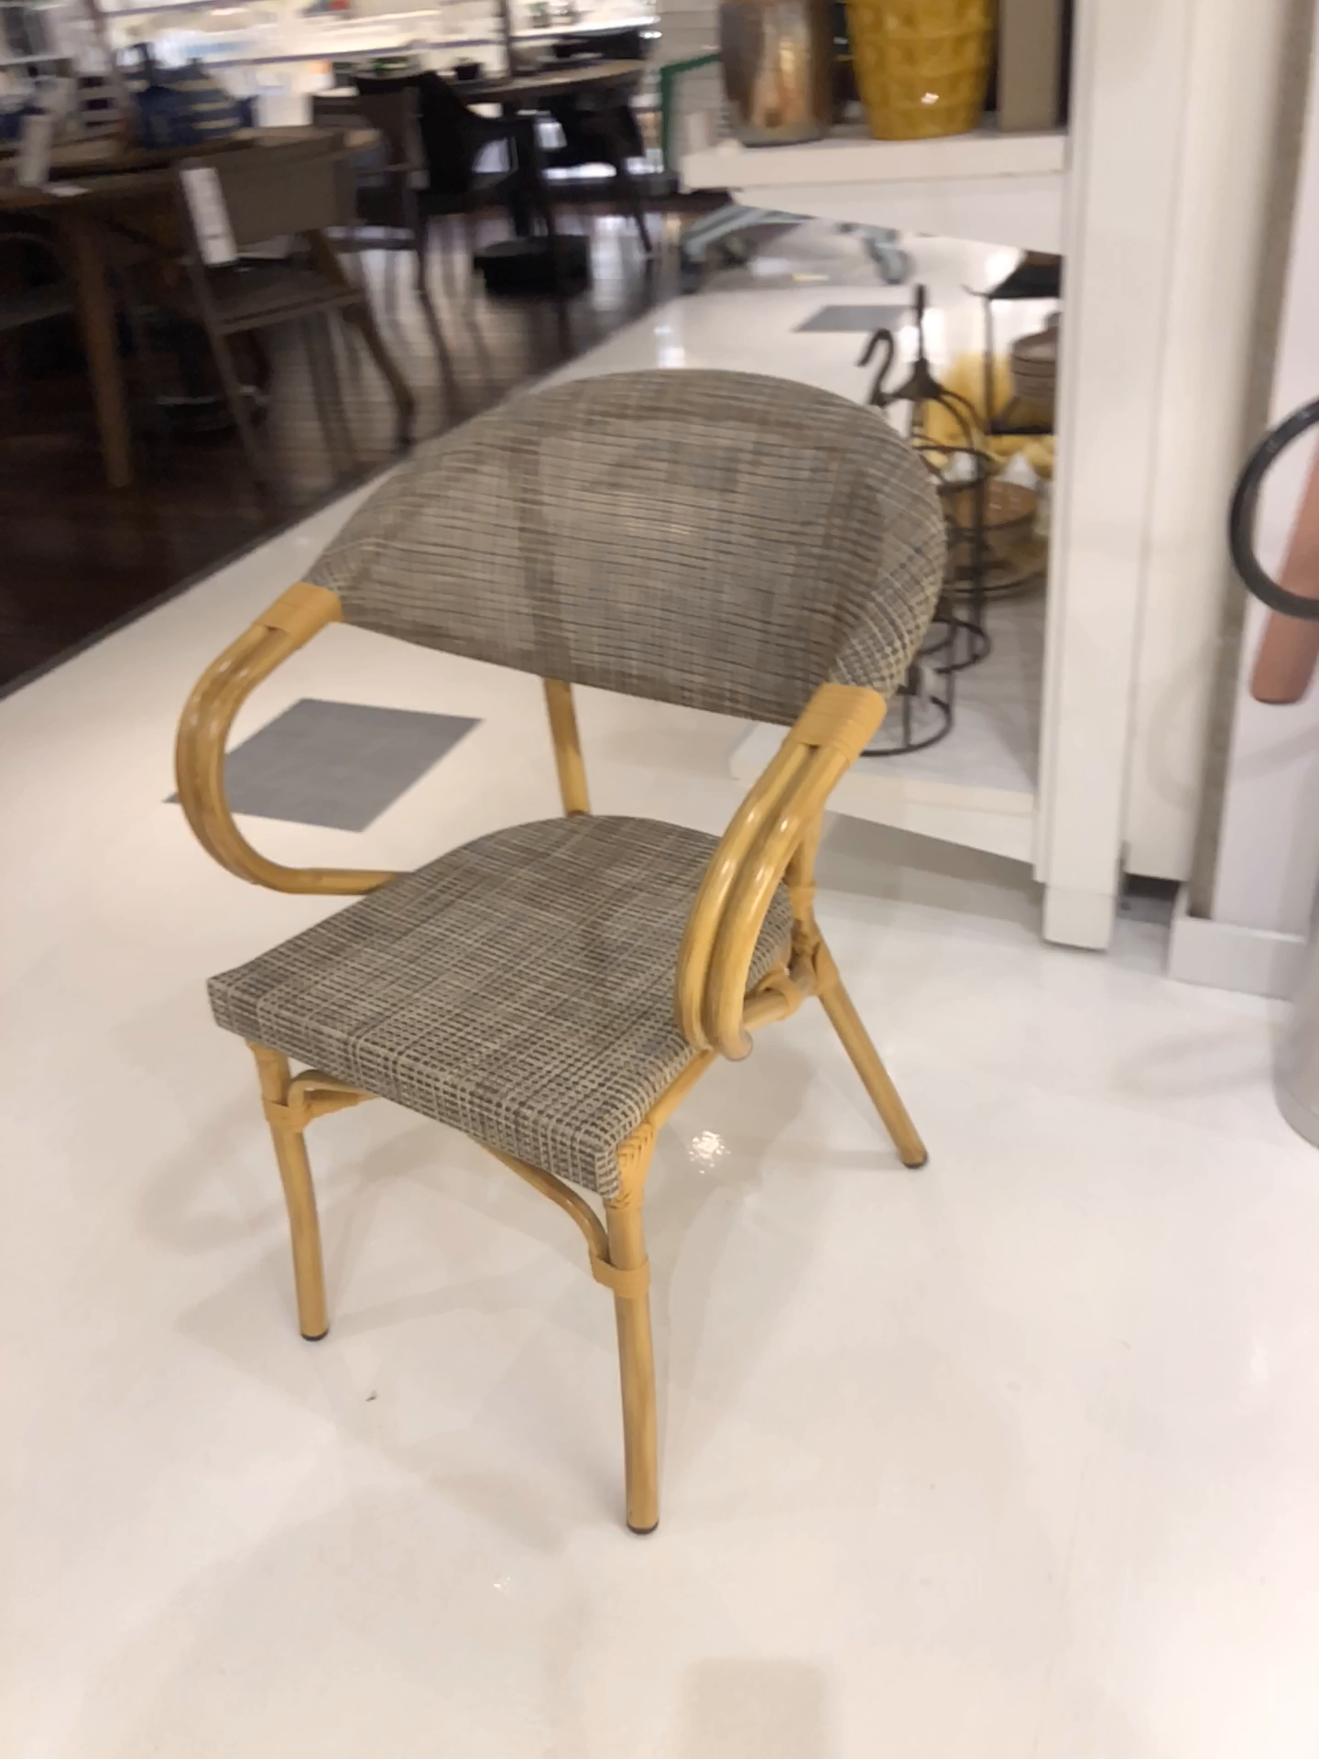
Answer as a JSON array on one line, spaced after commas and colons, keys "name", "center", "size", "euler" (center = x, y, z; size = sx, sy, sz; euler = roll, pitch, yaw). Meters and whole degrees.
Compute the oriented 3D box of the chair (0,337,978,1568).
[{"name": "chair", "center": [-0.090, 0.013, 1.276], "size": [0.521, 0.784, 0.573], "euler": [16, 38, 32]}]
